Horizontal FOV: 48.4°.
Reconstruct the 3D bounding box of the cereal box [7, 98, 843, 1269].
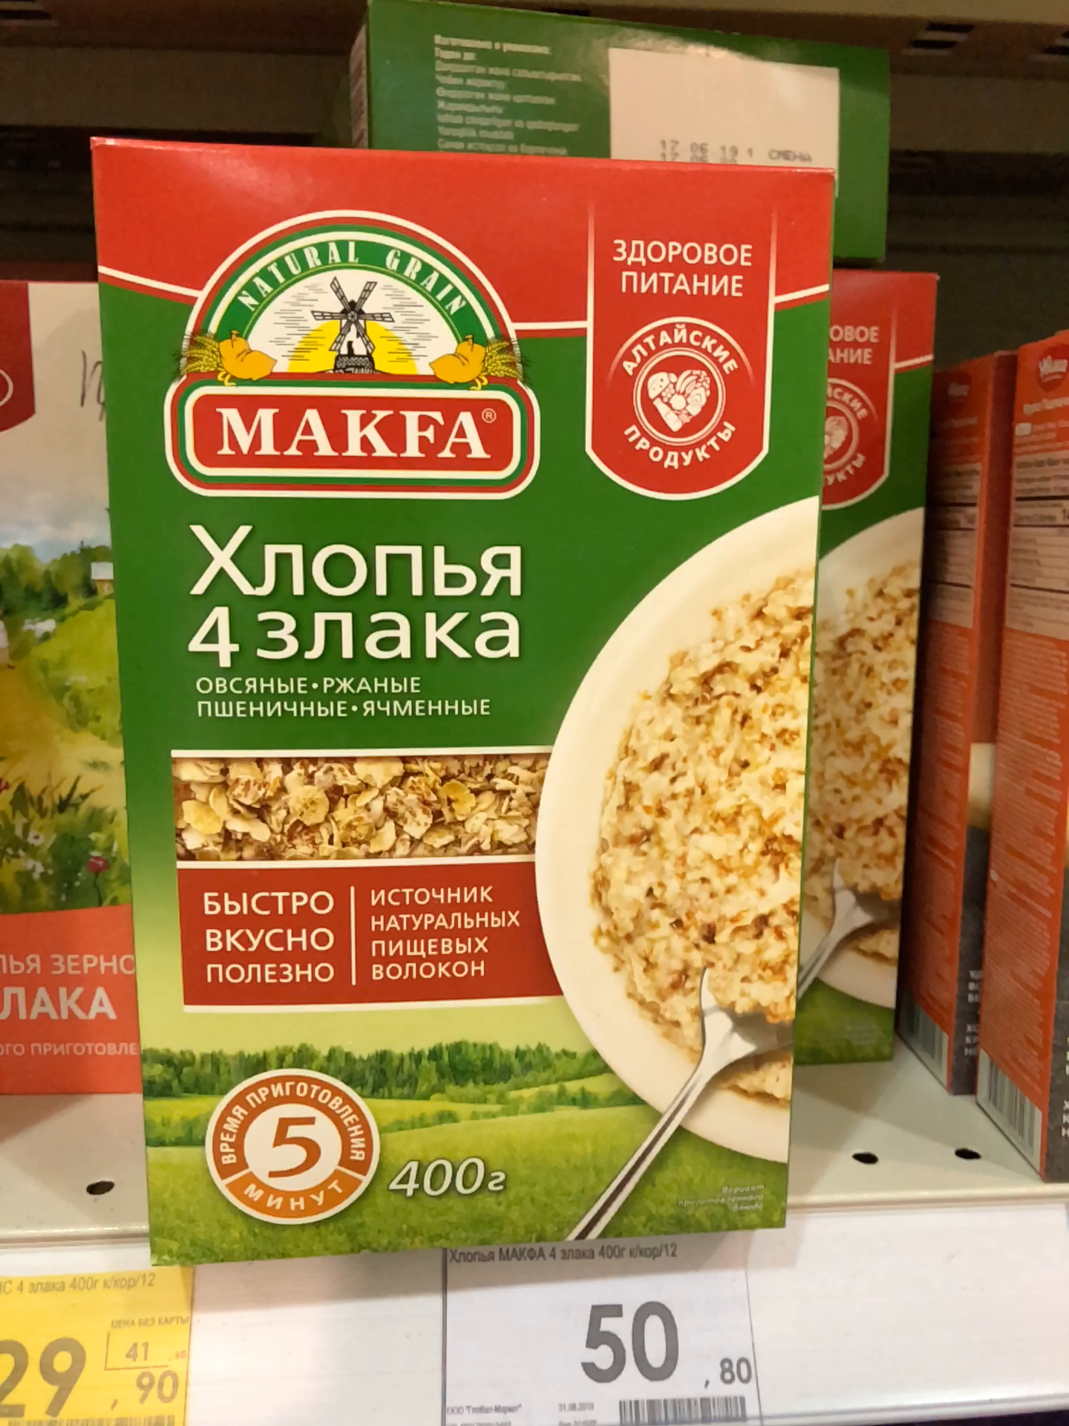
[{"bbox_3d":[-0.020,-0.002,0.242,0.140,0.209,0.050,0,10,-6],"label":"cereal box"}]
